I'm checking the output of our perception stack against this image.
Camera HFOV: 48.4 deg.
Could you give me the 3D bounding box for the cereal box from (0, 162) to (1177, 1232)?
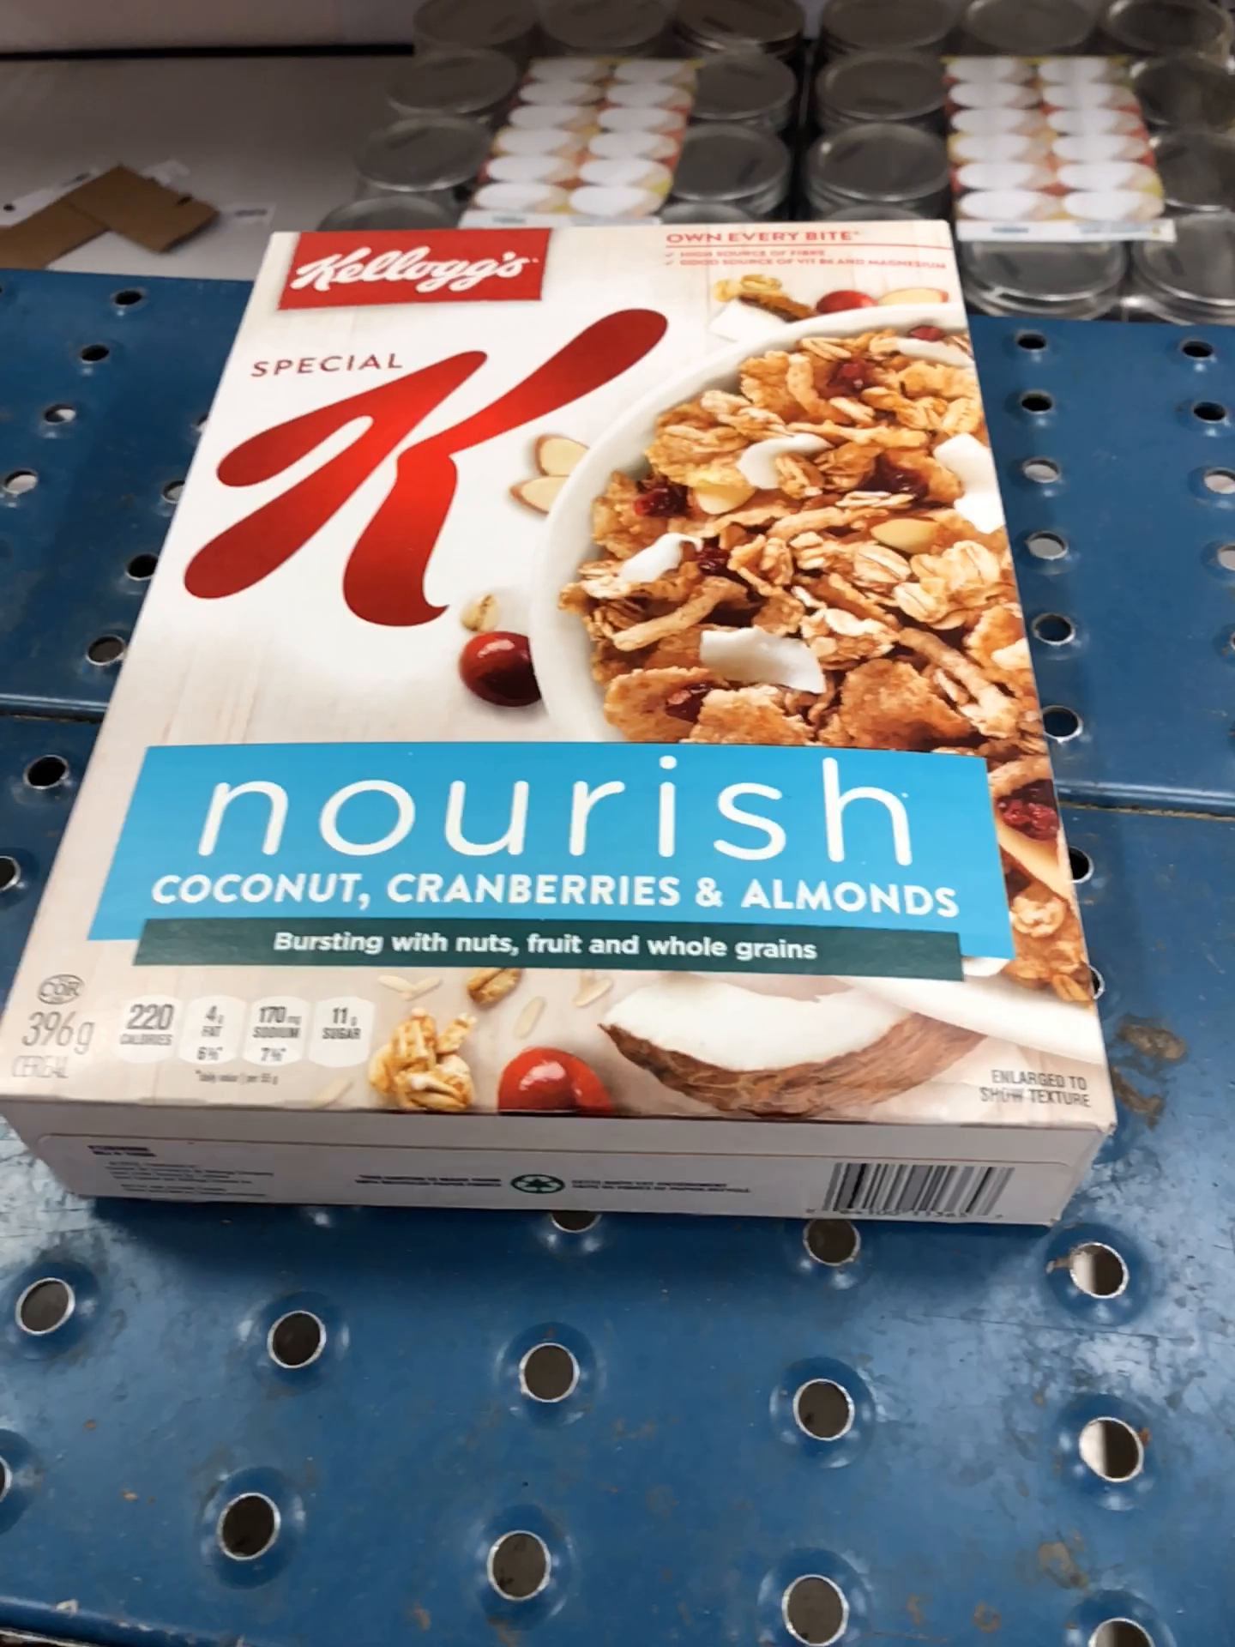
[{"bbox_3d":[-0.010,-0.056,0.330,0.210,0.050,0.291,1,54,3],"label":"cereal box"}]
